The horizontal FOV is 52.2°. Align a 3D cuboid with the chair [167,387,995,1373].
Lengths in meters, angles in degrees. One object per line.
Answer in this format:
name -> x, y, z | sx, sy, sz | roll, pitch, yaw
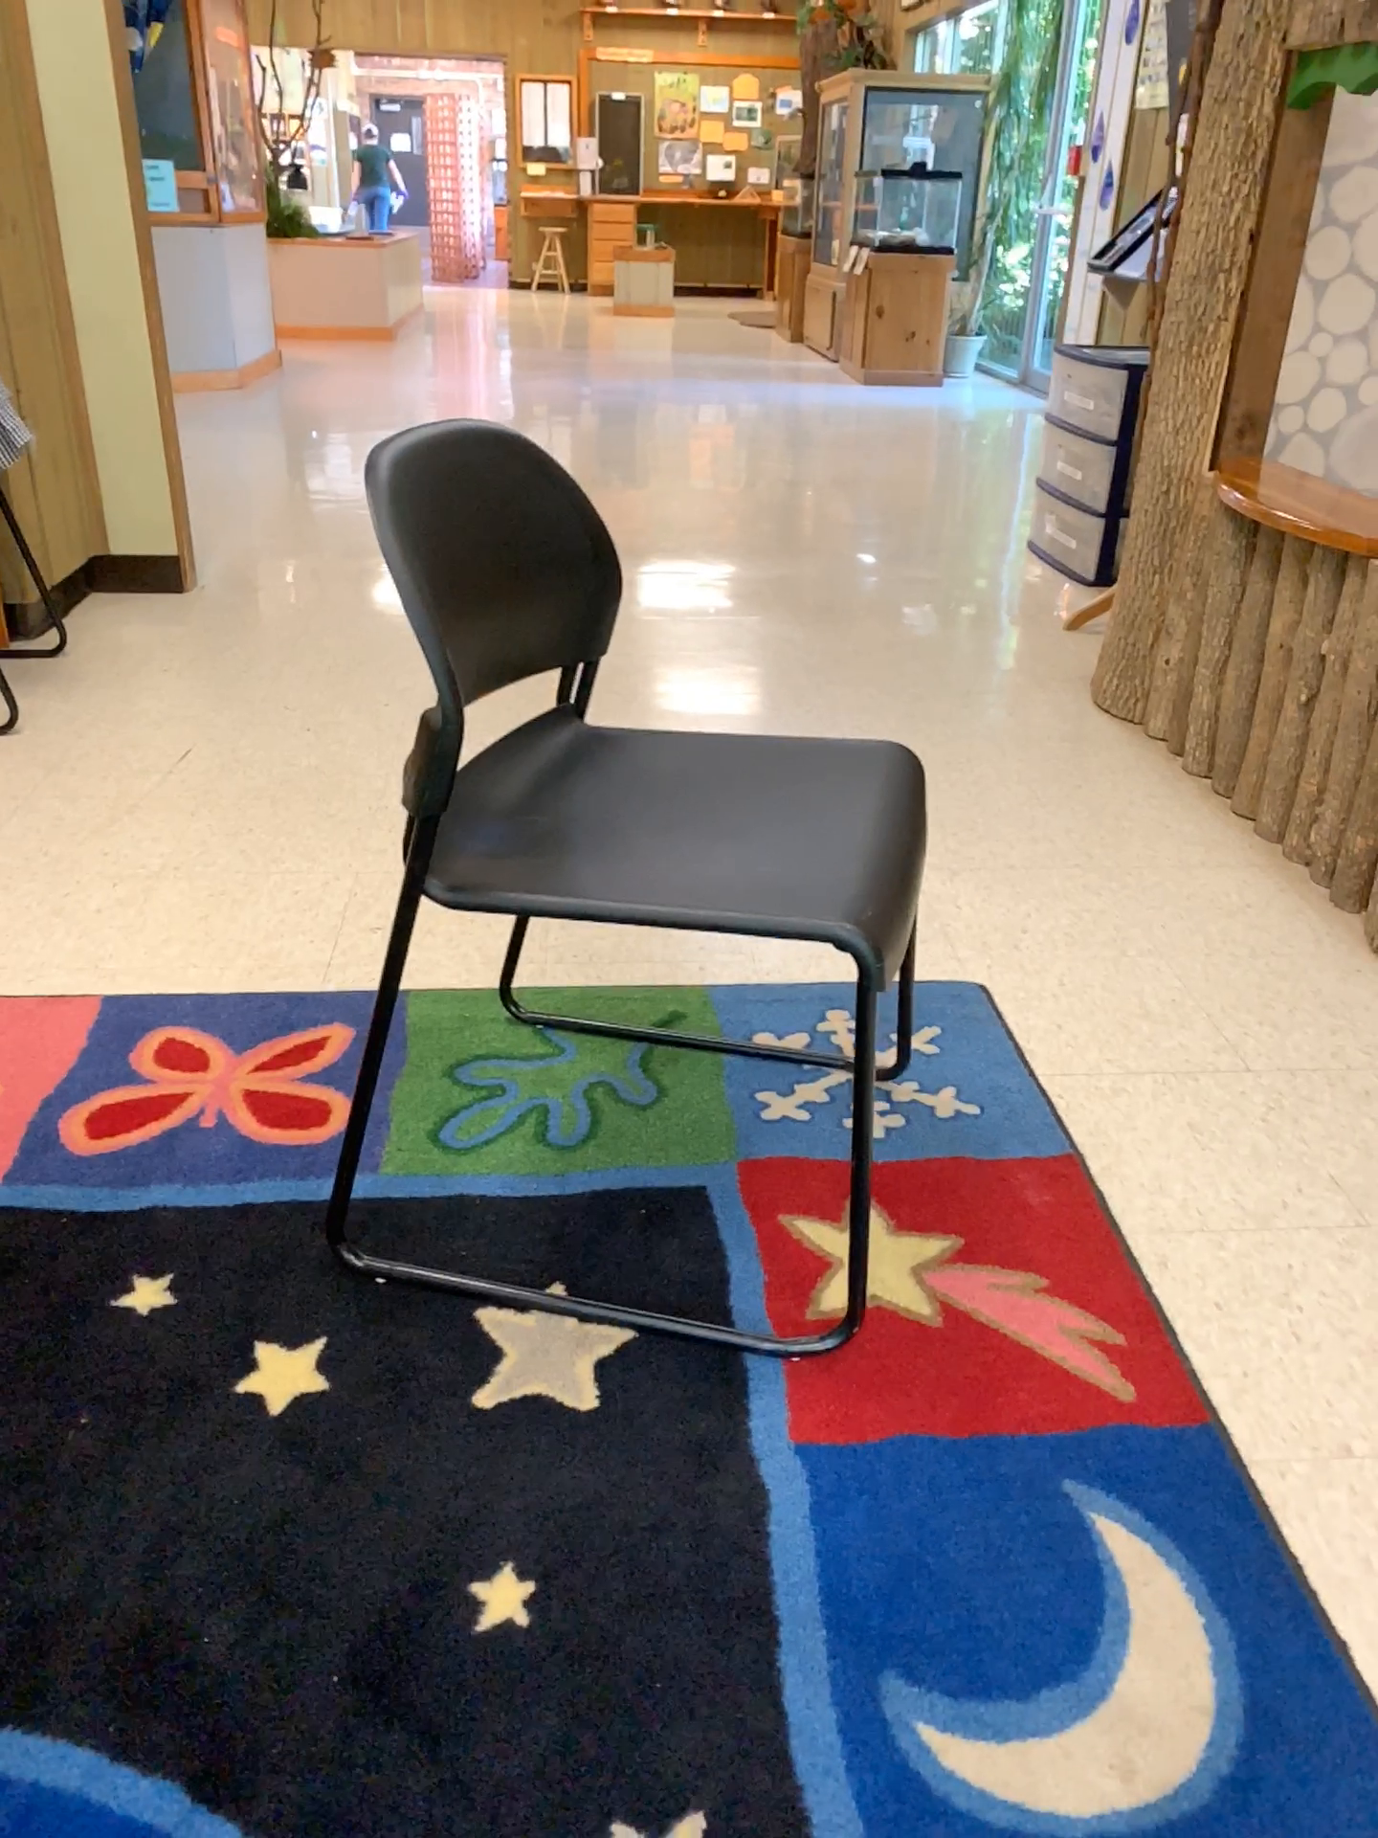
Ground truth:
chair -> -0.053, -0.092, 1.460 | 0.610, 0.776, 0.593 | 8, 27, 11
